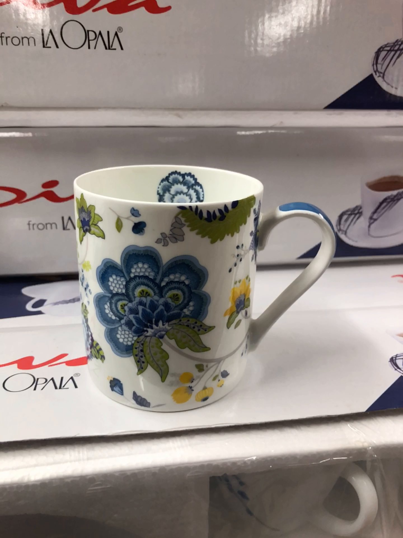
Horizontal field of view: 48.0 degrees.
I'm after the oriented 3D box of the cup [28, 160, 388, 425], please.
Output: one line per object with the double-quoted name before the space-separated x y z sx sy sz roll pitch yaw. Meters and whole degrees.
"cup" -0.001 0.003 0.189 0.110 0.080 0.080 -1 23 -6
